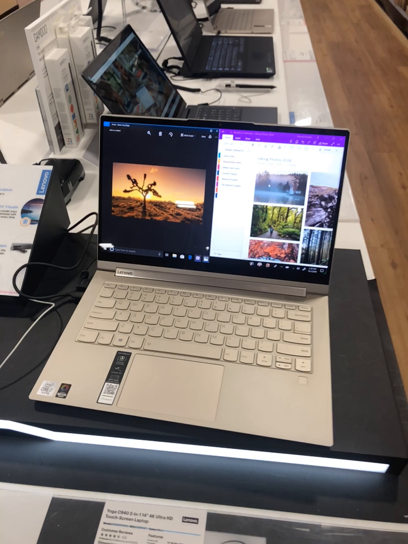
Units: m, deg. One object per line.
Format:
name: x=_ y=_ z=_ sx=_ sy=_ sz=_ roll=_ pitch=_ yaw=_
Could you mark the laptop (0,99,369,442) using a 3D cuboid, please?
laptop: x=-0.007 y=-0.034 z=0.524 sx=0.320 sy=0.170 sz=0.327 roll=7 pitch=46 yaw=9
